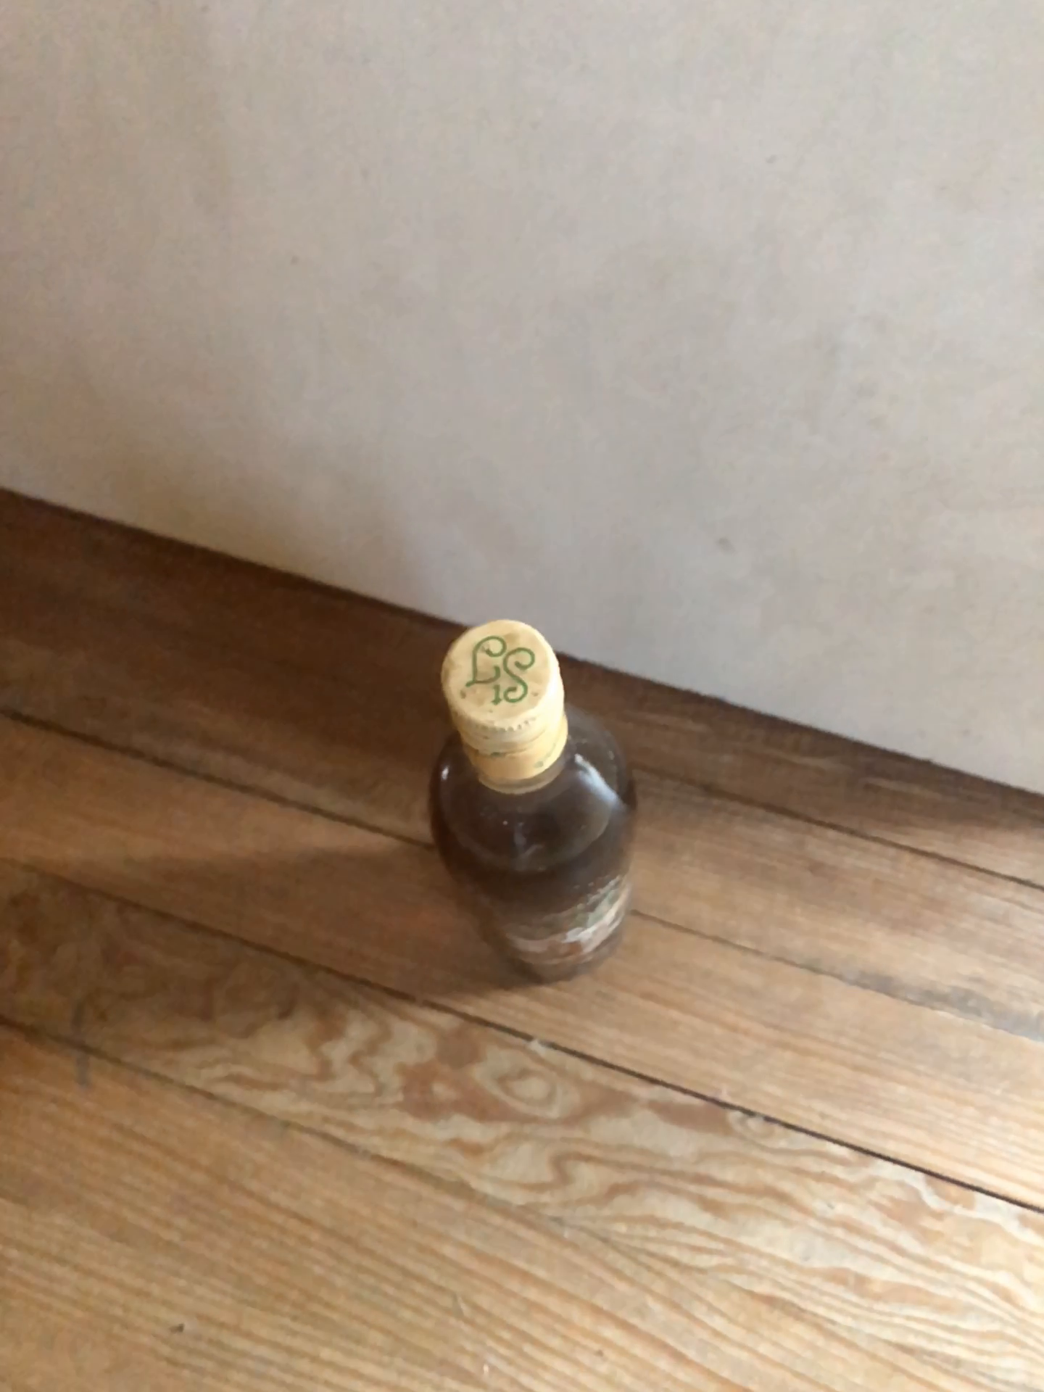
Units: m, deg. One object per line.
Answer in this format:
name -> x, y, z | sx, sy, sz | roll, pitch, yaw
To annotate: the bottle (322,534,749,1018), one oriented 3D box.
bottle -> 0.010, 0.058, 0.427 | 0.080, 0.319, 0.070 | -24, 71, -5
